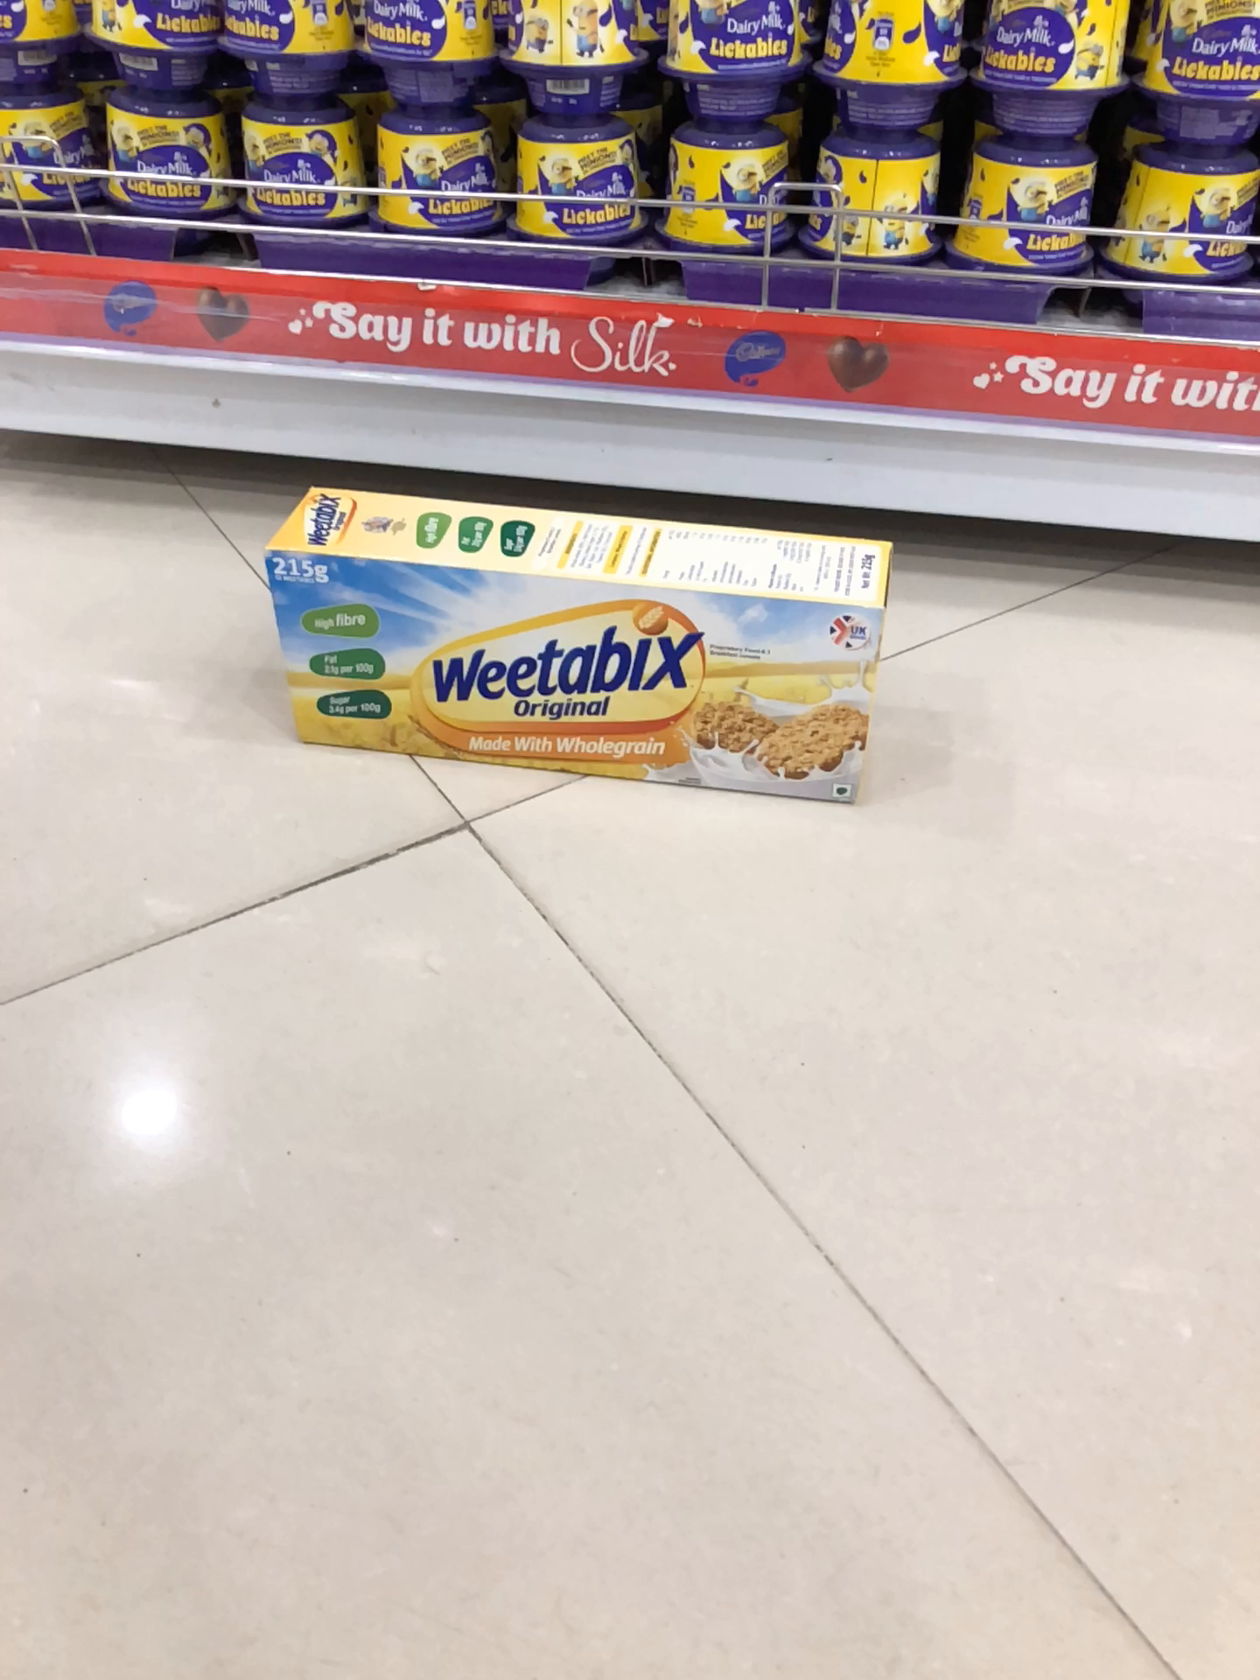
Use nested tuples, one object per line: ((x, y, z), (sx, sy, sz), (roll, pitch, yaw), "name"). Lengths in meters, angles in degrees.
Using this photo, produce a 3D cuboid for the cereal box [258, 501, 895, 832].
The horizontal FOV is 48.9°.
((-0.020, -0.075, 0.592), (0.250, 0.099, 0.060), (7, 41, 7), "cereal box")
